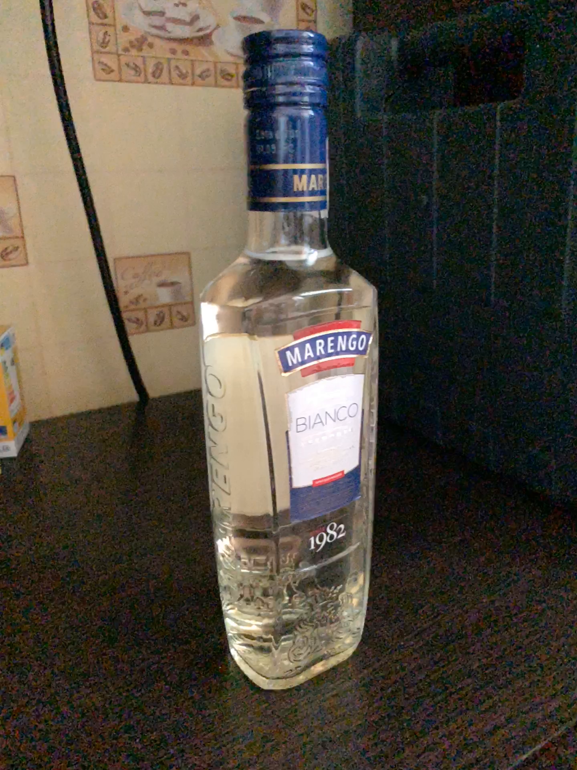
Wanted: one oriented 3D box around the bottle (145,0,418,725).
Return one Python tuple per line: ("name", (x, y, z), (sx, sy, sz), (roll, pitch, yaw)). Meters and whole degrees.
("bottle", (0.000, 0.004, 0.271), (0.090, 0.289, 0.050), (-12, 21, -29))
